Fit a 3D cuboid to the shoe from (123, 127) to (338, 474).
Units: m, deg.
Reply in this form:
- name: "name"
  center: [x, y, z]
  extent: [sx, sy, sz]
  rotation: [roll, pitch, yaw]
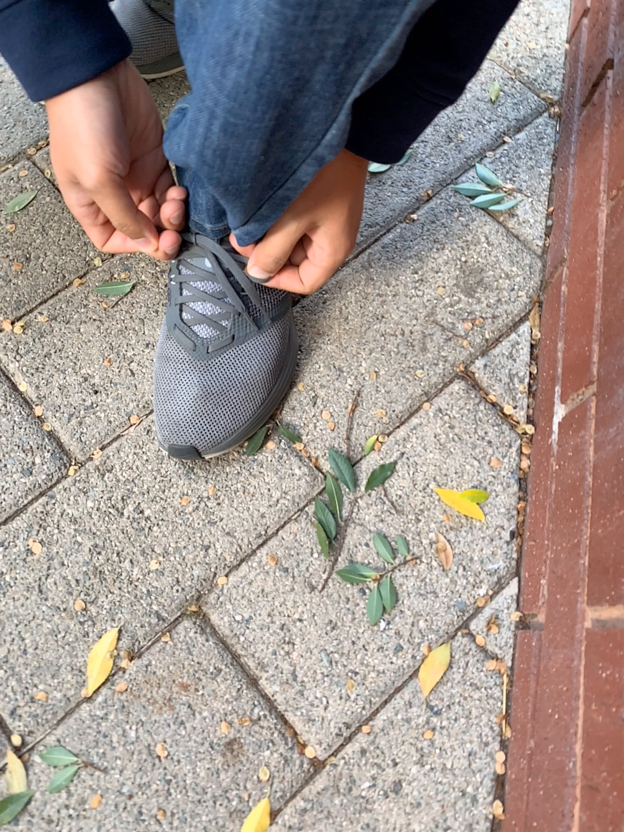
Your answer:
- name: "shoe"
  center: [-0.061, -0.104, 0.558]
  extent: [0.110, 0.083, 0.280]
  rotation: [12, 71, 2]

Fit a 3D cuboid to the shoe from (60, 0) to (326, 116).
- name: "shoe"
  center: [-0.127, -0.459, 0.618]
  extent: [0.098, 0.274, 0.116]
  rotation: [-13, 63, -51]
